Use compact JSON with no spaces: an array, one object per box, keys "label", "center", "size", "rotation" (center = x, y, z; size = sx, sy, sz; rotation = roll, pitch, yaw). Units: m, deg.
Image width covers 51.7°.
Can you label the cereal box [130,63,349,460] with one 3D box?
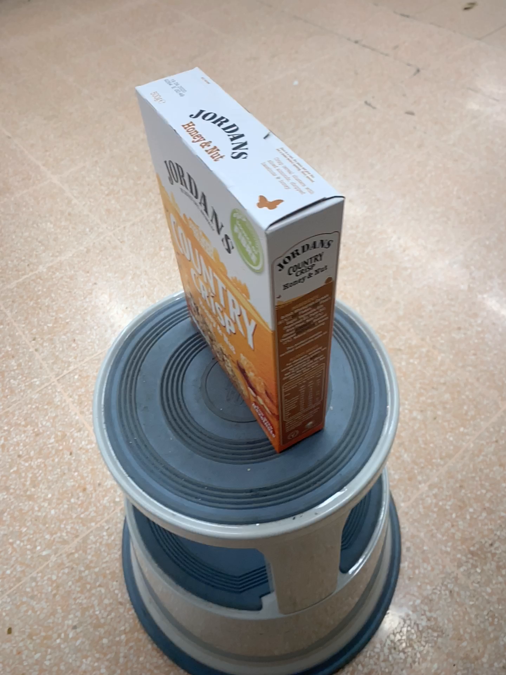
[{"label":"cereal box","center":[-0.011,-0.043,0.412],"size":[0.050,0.258,0.181],"rotation":[-25,55,-16]}]
